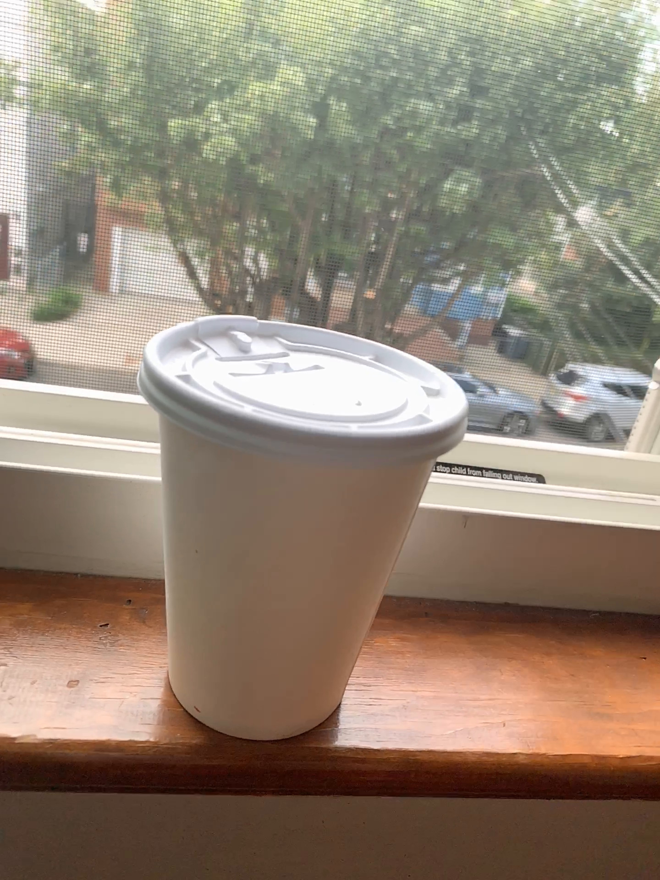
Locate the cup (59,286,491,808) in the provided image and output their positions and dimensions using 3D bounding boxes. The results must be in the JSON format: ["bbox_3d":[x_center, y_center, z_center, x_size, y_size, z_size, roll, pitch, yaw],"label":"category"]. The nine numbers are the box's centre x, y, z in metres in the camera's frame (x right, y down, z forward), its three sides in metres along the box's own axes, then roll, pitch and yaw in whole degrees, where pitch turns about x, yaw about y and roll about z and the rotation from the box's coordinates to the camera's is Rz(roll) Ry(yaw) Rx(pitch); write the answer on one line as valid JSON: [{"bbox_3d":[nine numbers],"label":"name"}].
[{"bbox_3d":[-0.012,0.021,0.203,0.090,0.099,0.091,9,24,-4],"label":"cup"}]
